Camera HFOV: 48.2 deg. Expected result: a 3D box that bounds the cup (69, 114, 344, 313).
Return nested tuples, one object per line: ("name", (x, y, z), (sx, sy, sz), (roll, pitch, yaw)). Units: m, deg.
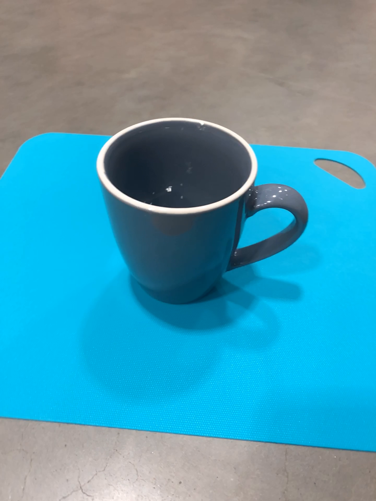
("cup", (0.009, -0.023, 0.259), (0.130, 0.080, 0.090), (1, 47, 0))
